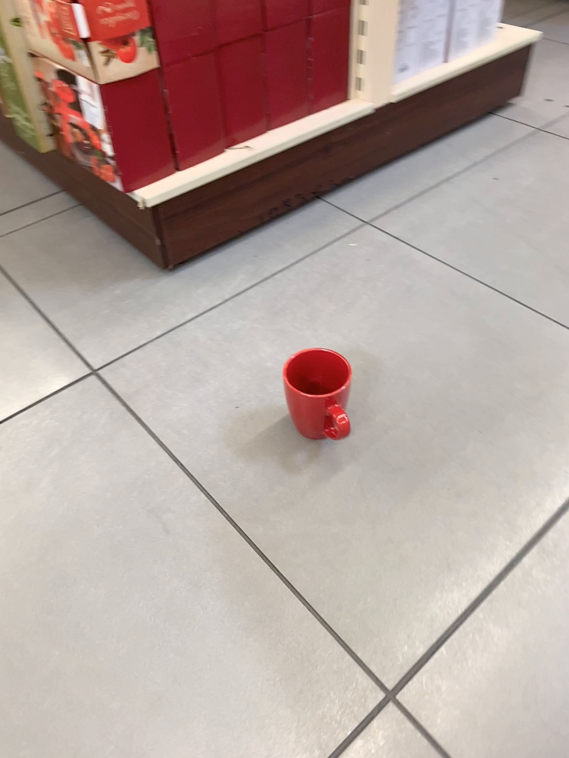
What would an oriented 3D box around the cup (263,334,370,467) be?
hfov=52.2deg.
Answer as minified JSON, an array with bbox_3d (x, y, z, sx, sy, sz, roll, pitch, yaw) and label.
[{"bbox_3d":[0.038,0.025,0.733,0.090,0.090,0.121,-16,47,-12],"label":"cup"}]
